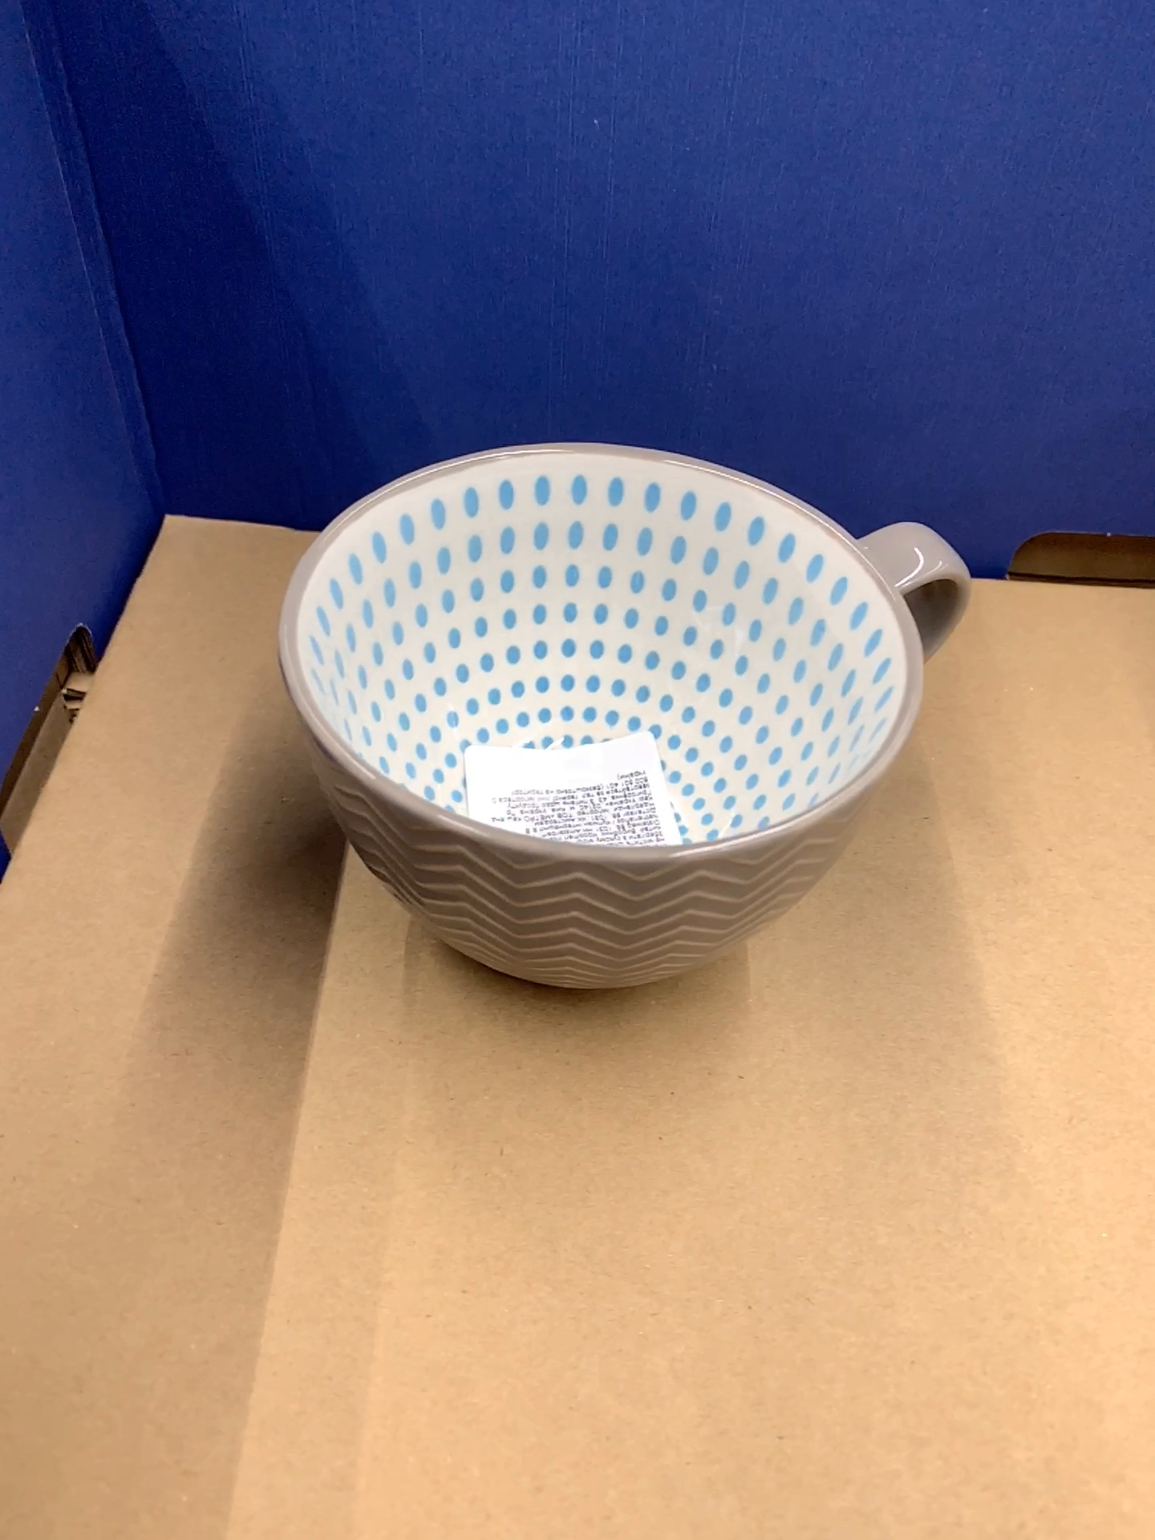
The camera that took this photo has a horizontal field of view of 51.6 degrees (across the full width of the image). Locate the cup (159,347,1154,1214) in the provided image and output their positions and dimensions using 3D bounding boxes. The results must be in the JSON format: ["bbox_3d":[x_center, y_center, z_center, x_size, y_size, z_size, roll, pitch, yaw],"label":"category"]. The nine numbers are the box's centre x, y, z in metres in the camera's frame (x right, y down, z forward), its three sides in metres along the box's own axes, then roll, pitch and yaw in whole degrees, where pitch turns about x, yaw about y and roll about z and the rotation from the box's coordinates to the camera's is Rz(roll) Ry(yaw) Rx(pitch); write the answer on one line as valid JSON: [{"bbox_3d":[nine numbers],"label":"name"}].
[{"bbox_3d":[0.016,-0.014,0.236,0.143,0.061,0.119,-27,52,-27],"label":"cup"}]
